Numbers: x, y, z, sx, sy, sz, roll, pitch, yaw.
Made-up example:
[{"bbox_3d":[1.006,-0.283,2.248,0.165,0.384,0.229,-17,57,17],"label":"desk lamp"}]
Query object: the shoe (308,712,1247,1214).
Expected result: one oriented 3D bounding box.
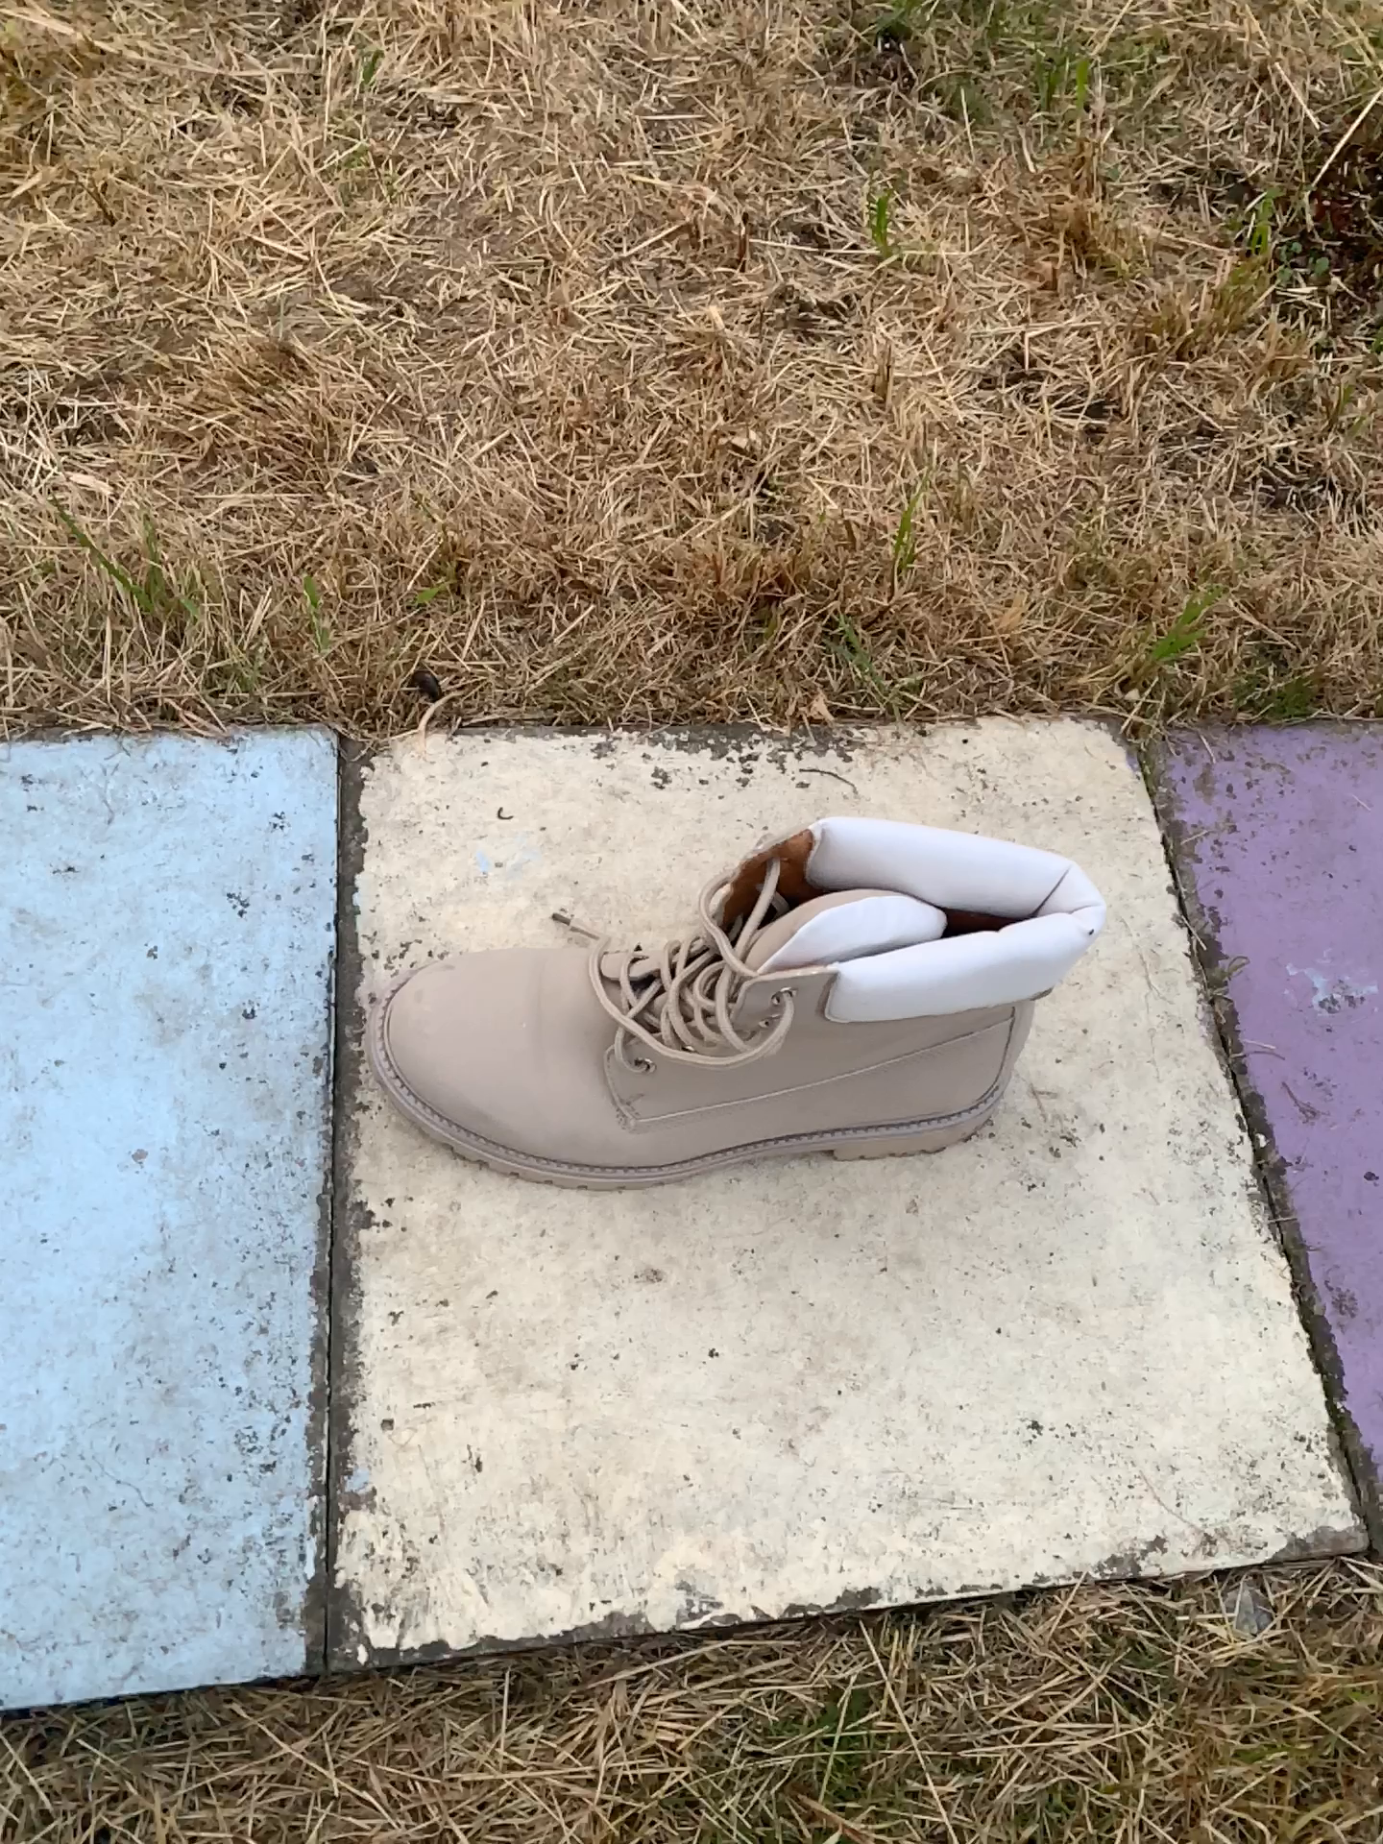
[{"bbox_3d":[0.017,0.030,0.524,0.280,0.199,0.101,3,64,-7],"label":"shoe"}]
